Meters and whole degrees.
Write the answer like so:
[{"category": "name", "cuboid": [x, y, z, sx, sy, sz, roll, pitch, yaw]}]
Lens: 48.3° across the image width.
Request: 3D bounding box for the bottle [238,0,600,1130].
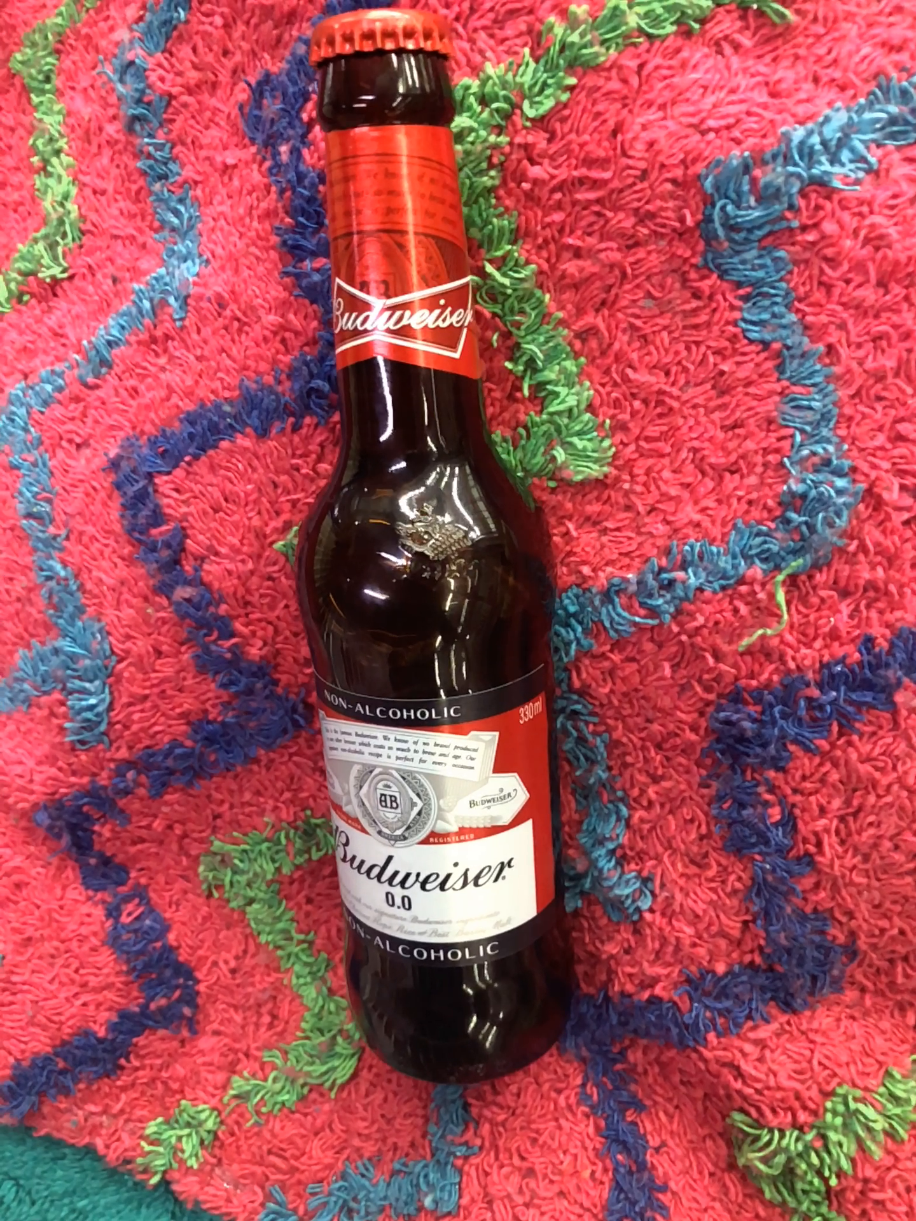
[{"category": "bottle", "cuboid": [-0.004, -0.007, 0.243, 0.060, 0.050, 0.250, 5, 105, 22]}]
